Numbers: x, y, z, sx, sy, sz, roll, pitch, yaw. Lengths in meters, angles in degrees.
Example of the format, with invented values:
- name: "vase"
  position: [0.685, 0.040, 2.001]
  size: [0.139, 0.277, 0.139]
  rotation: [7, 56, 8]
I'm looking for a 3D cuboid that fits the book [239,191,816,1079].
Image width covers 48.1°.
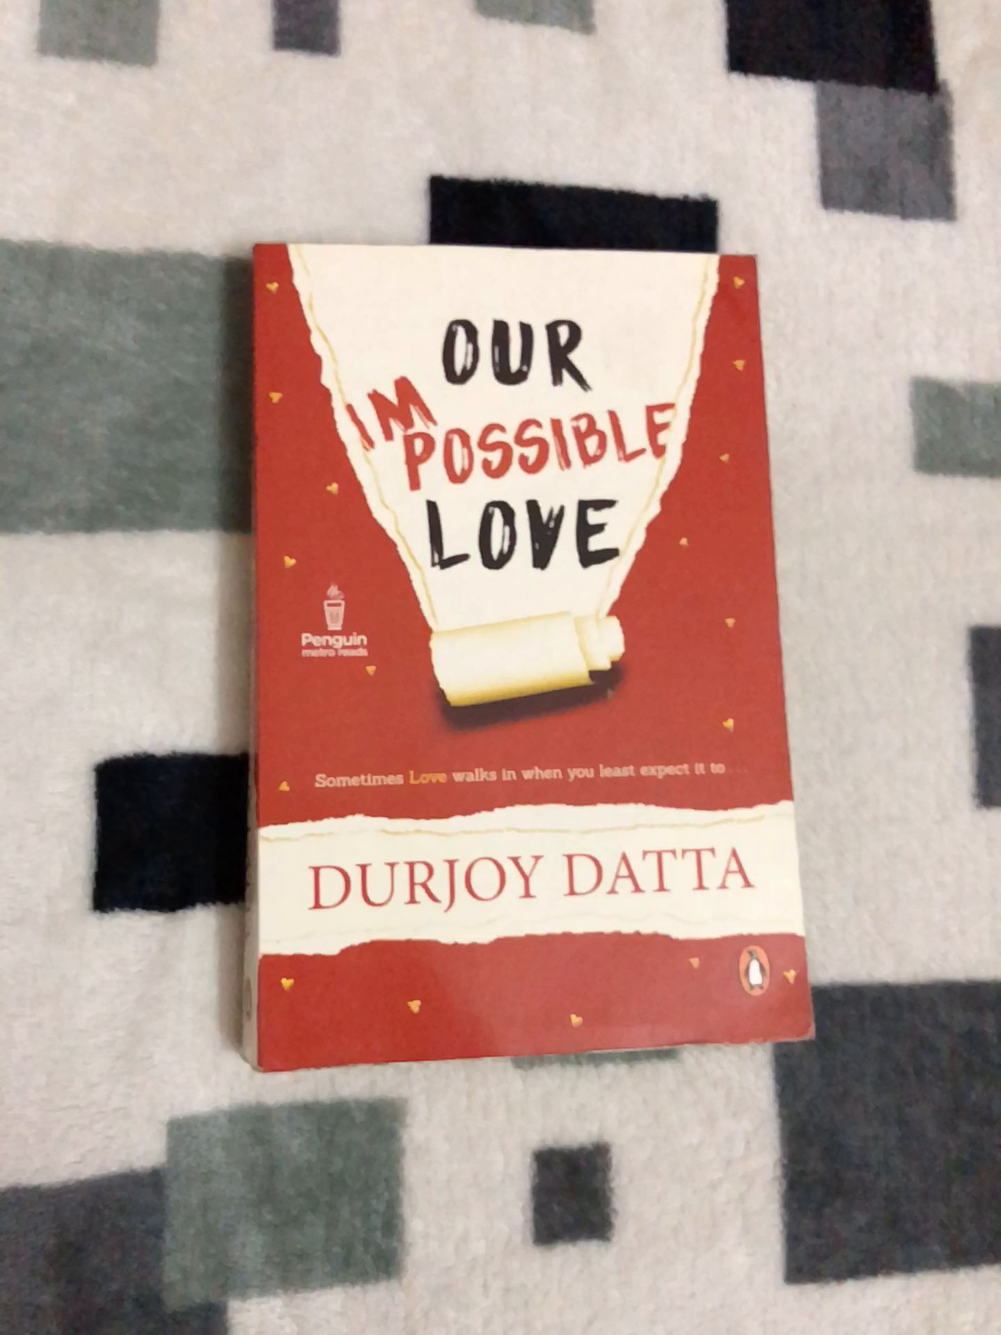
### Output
- name: "book"
  position: [0.004, -0.010, 0.275]
  size: [0.130, 0.030, 0.200]
  rotation: [-1, 85, -8]
